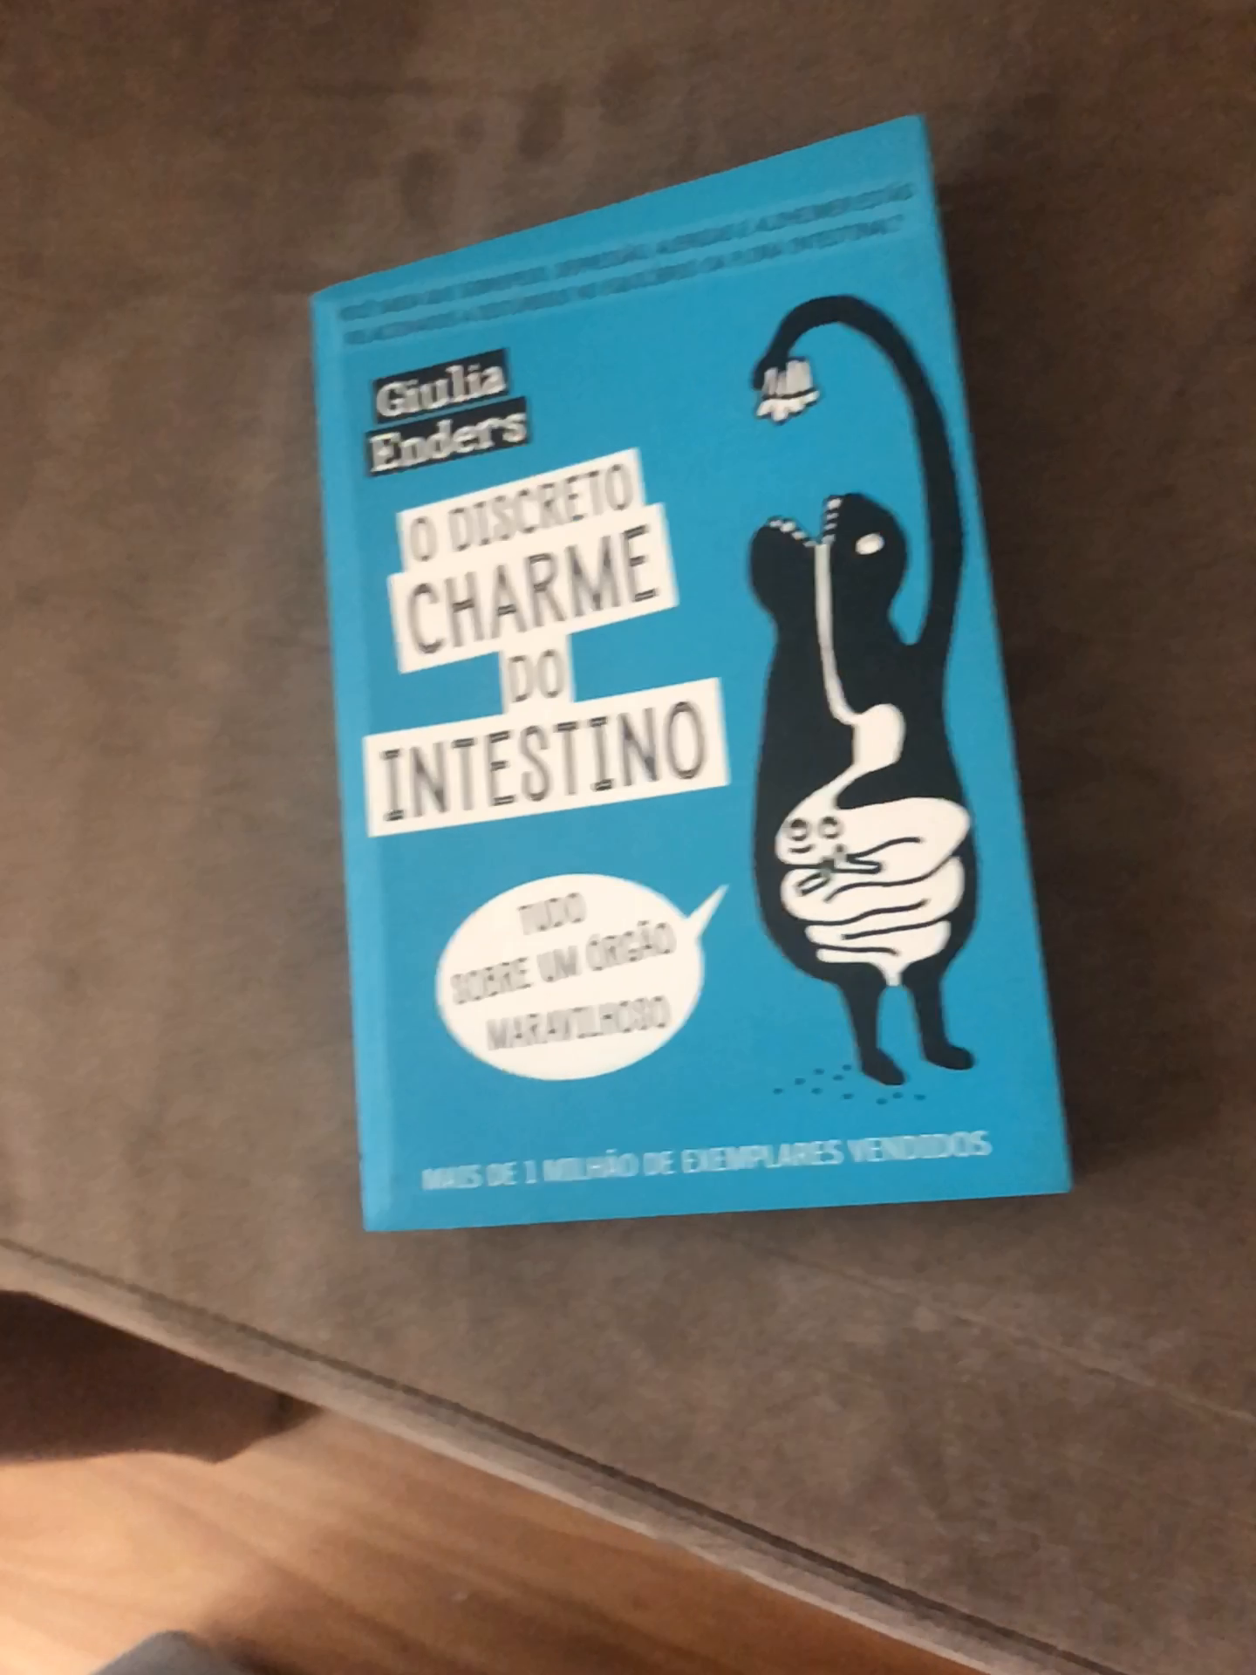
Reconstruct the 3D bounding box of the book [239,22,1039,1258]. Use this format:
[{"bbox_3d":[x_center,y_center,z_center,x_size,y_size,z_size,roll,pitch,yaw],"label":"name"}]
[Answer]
[{"bbox_3d":[-0.005,-0.035,0.279,0.140,0.030,0.220,-8,79,17],"label":"book"}]
